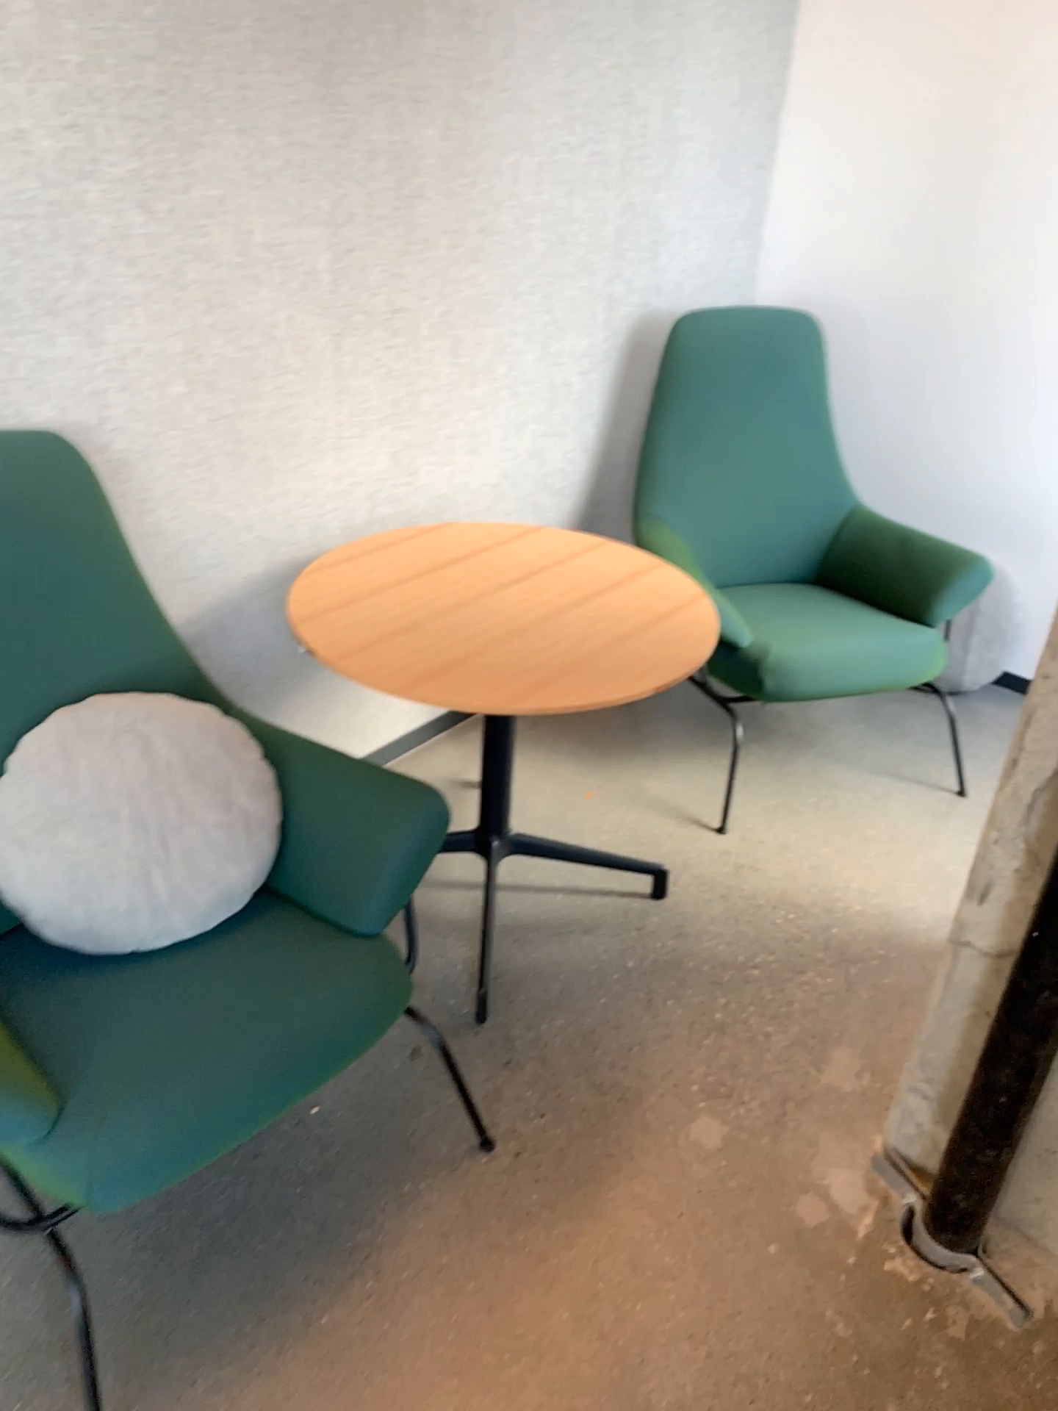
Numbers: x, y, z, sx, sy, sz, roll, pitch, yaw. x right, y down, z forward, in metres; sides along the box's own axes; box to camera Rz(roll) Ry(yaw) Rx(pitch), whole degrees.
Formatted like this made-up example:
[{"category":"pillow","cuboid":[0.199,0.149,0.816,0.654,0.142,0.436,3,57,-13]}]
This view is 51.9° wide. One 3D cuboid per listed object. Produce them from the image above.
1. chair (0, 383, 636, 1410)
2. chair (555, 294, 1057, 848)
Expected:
[{"category":"chair","cuboid":[-0.493,0.214,1.560,0.853,1.034,0.832,27,38,34]},{"category":"chair","cuboid":[0.648,-0.398,2.645,0.820,0.954,1.006,-6,32,-17]}]
